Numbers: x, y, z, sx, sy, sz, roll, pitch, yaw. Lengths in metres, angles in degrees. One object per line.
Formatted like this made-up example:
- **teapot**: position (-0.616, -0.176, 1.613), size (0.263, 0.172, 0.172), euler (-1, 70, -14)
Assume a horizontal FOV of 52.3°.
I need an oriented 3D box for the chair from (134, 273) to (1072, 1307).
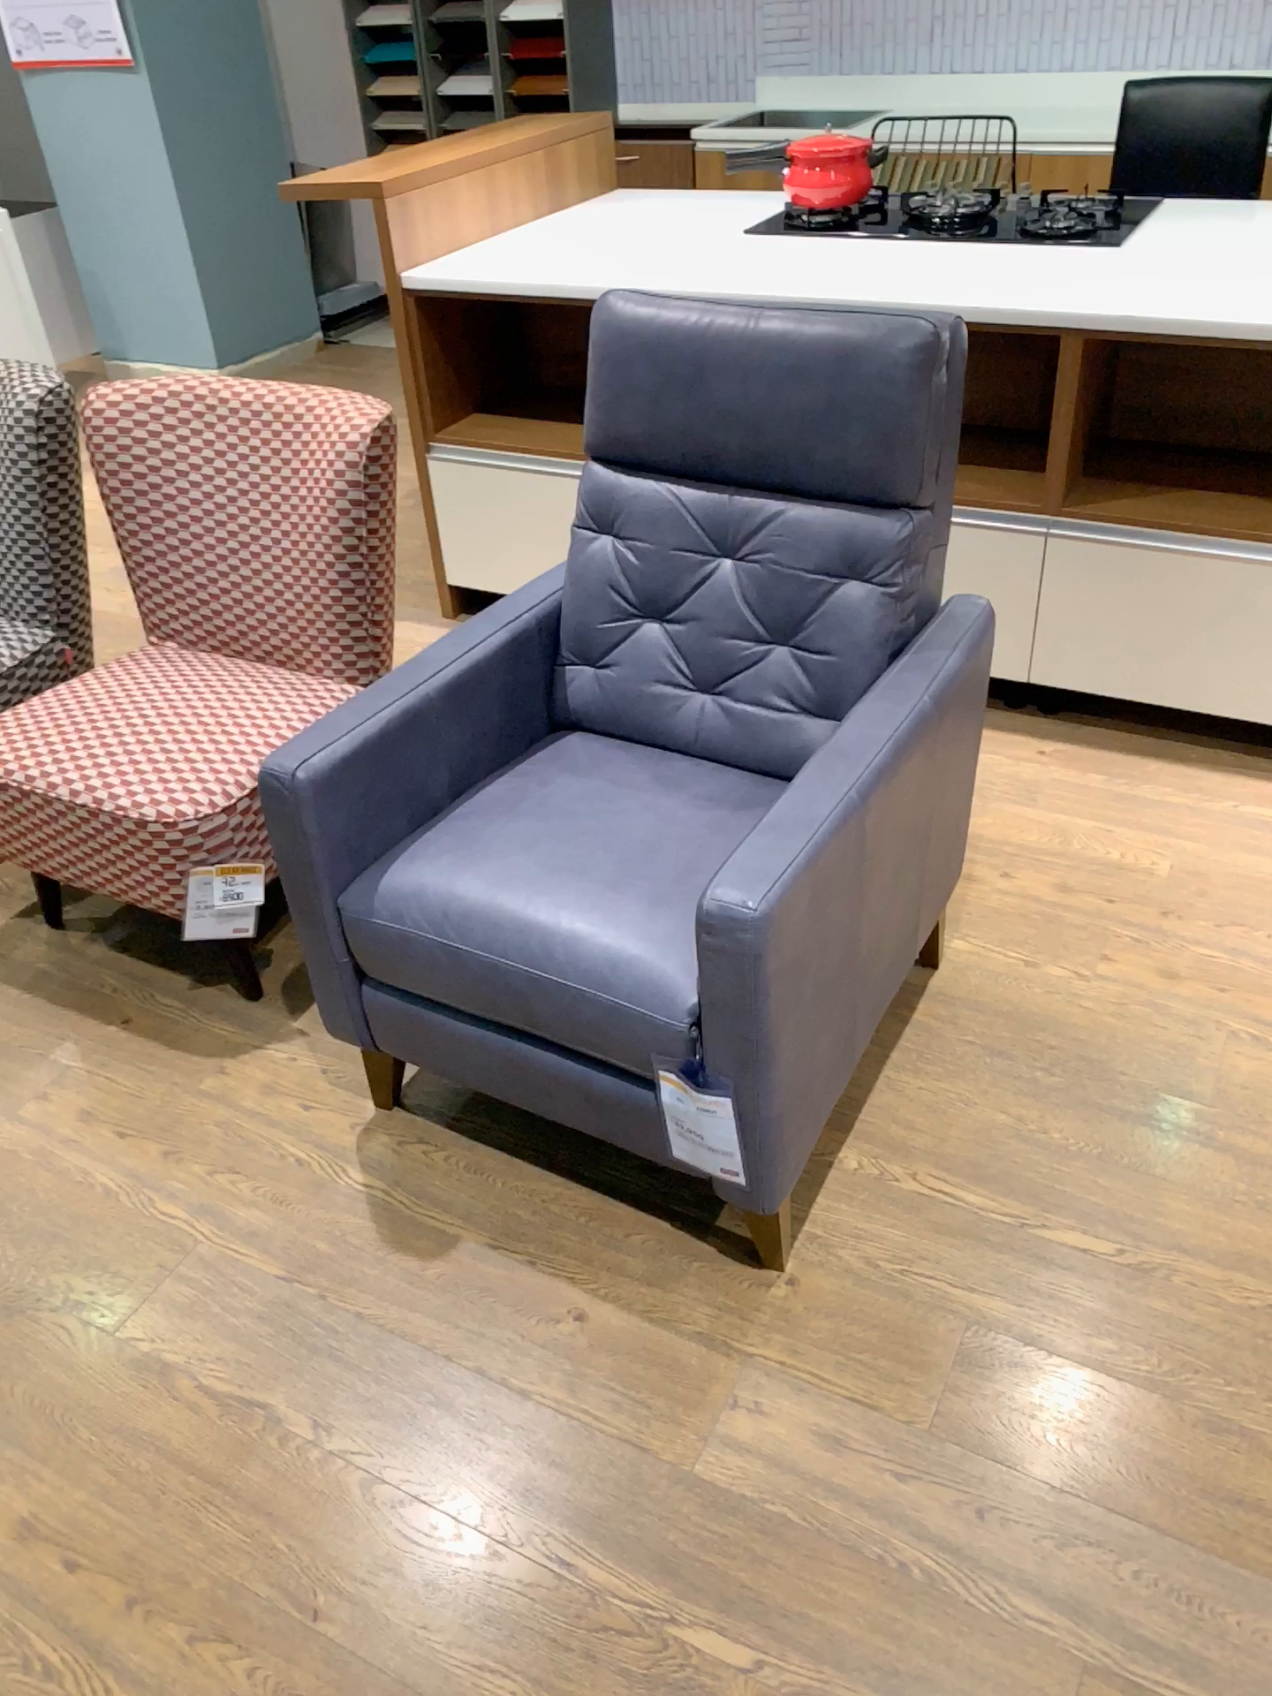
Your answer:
- **chair**: position (0.040, -0.150, 1.795), size (0.771, 0.996, 0.852), euler (15, 40, 26)
